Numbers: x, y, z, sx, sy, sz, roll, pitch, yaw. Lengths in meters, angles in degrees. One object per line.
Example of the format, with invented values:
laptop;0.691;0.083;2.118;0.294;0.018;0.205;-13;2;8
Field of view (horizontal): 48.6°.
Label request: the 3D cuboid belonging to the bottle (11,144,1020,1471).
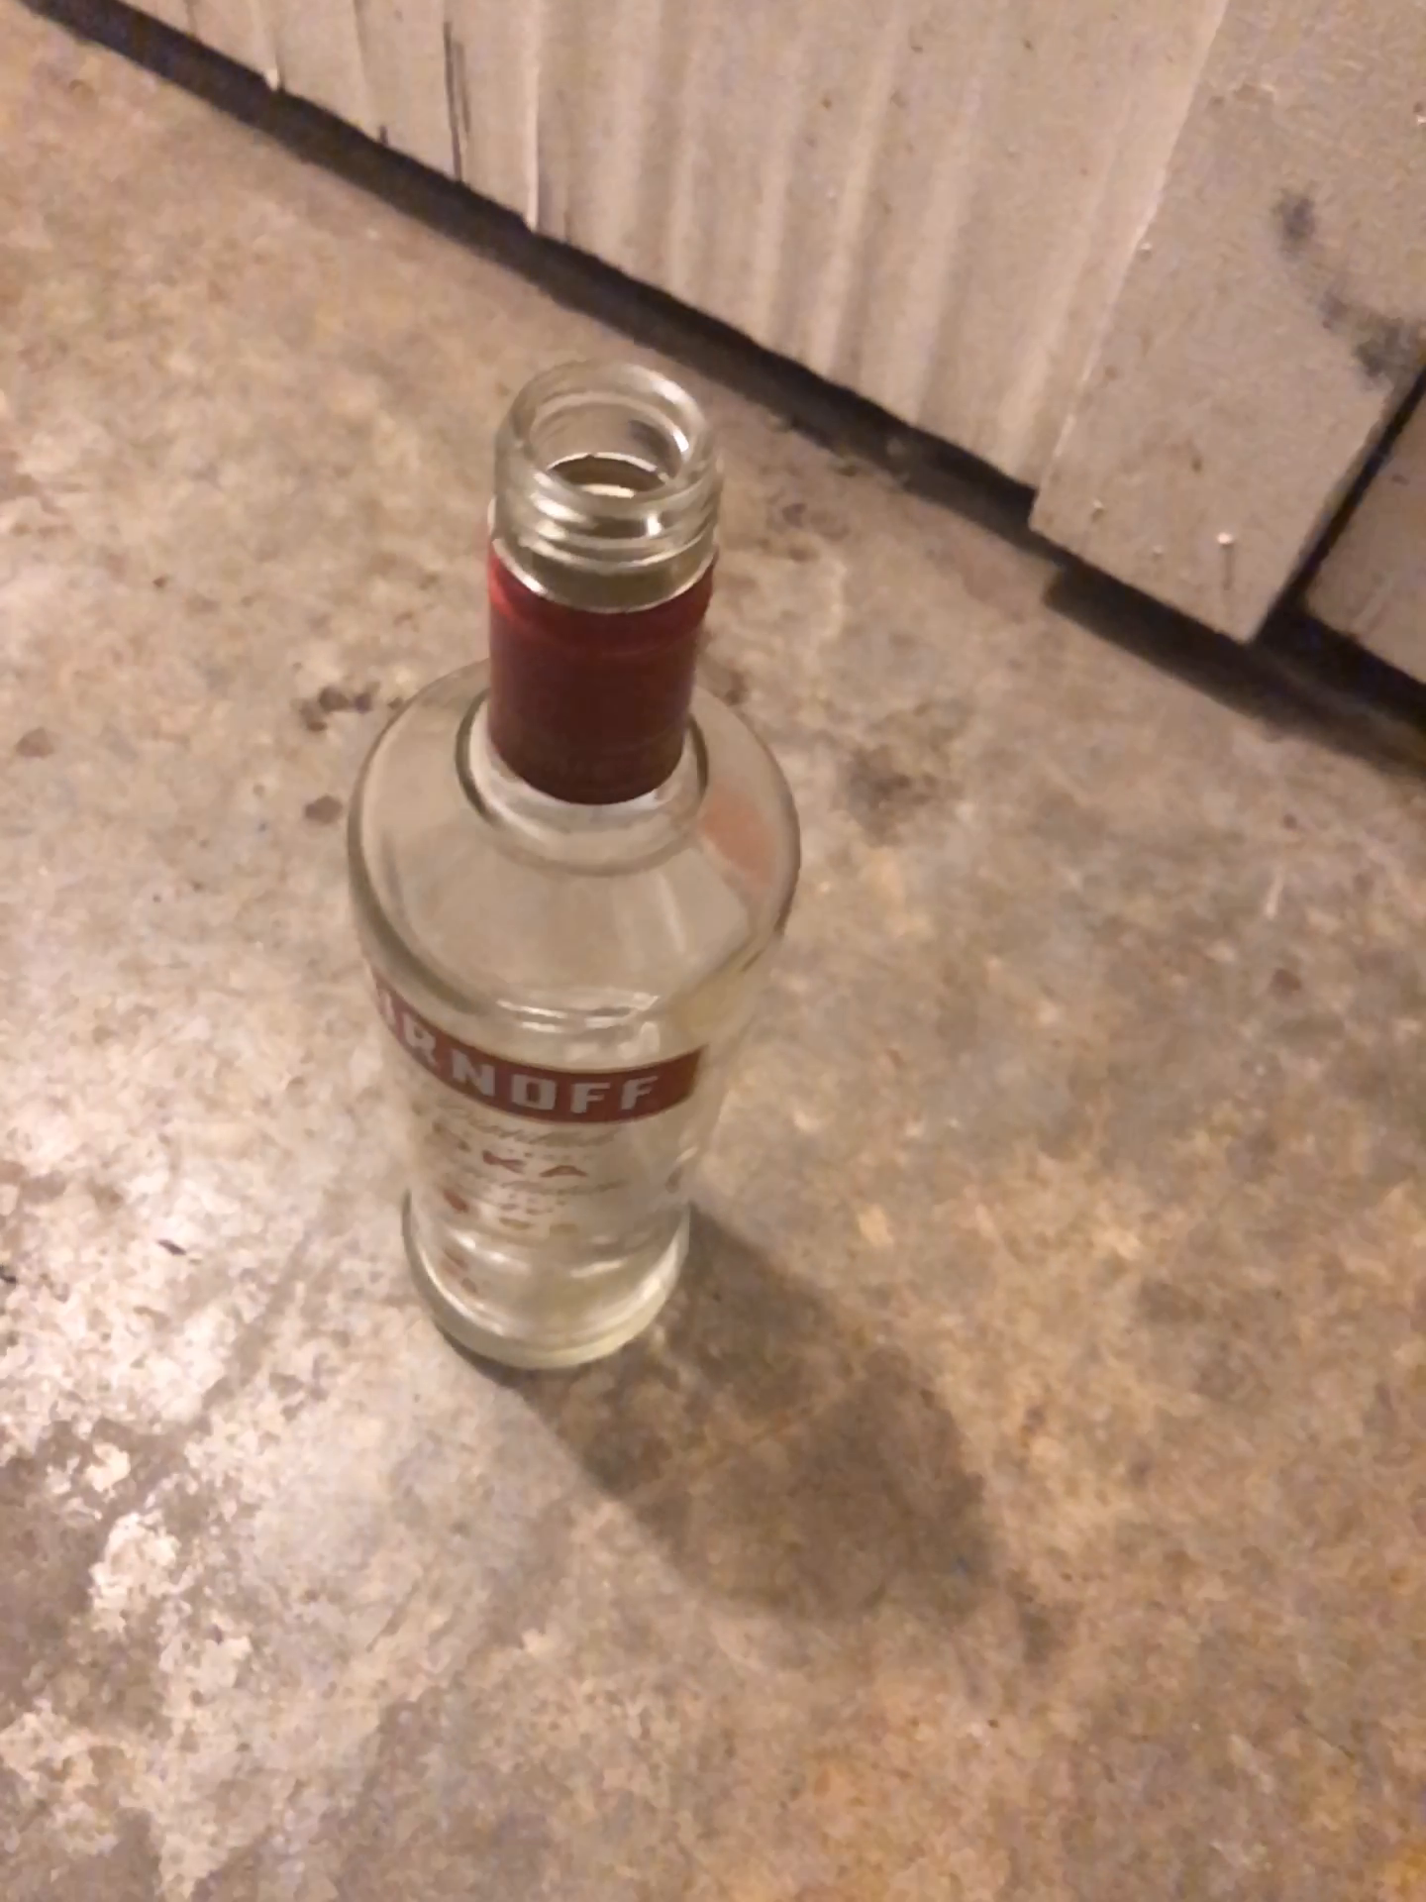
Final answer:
bottle;-0.035;0.014;0.304;0.080;0.289;0.080;3;61;-5
